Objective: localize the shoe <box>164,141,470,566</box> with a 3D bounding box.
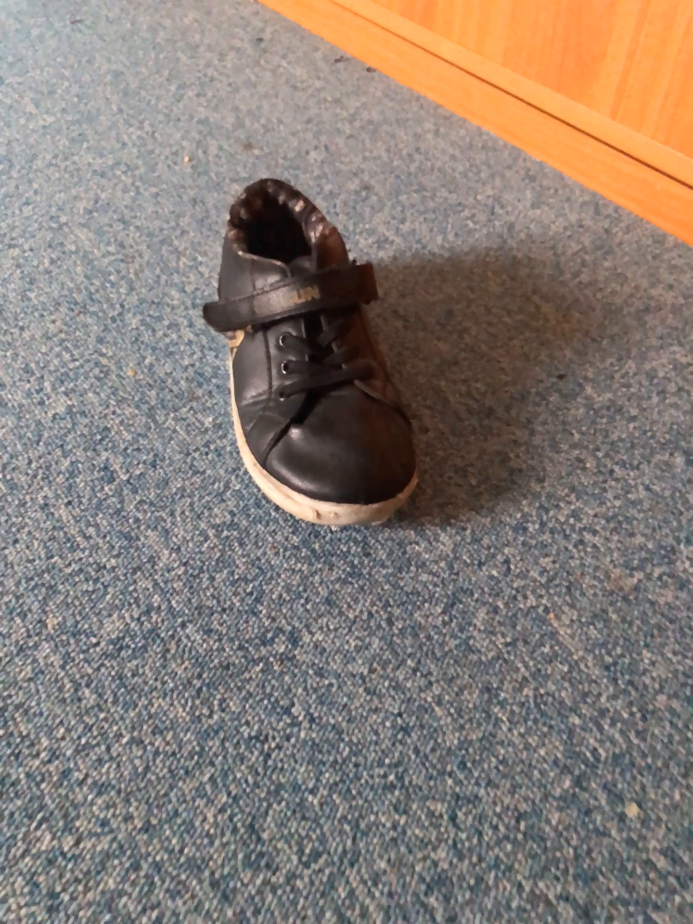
[{"bbox_3d":[-0.029,-0.073,0.416,0.110,0.090,0.231,-8,50,-10],"label":"shoe"}]
